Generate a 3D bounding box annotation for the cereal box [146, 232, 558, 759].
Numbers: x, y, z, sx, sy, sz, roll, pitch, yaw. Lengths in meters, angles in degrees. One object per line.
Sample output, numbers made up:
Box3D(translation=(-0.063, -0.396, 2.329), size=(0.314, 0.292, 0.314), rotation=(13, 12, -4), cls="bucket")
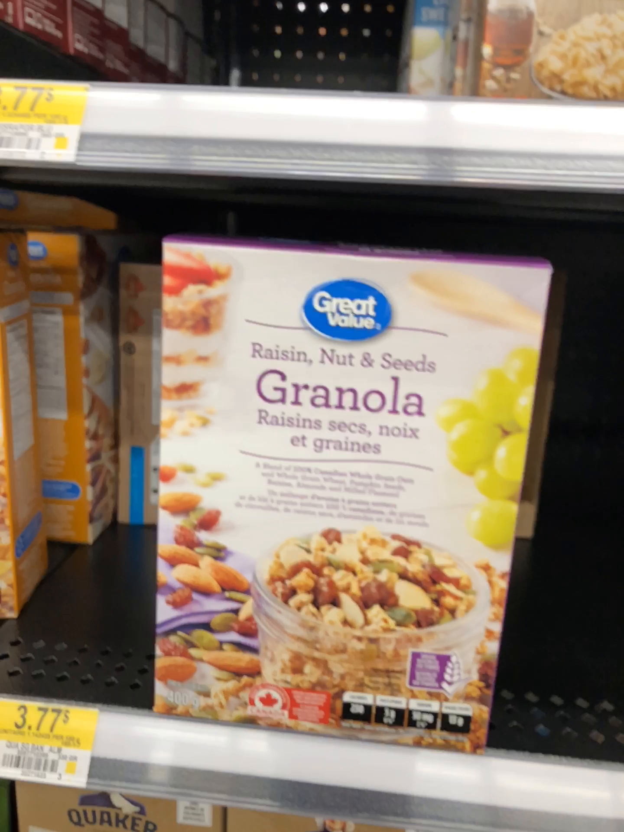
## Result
Box3D(translation=(0.011, 0.033, 0.324), size=(0.160, 0.219, 0.060), rotation=(4, 13, 6), cls="cereal box")
